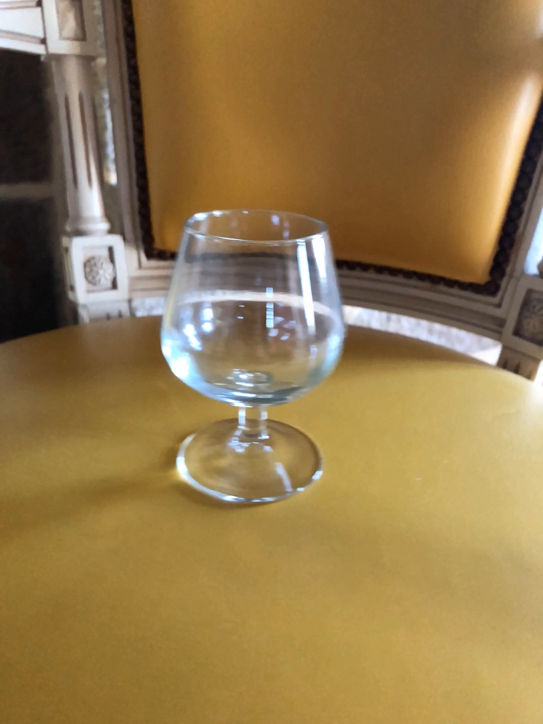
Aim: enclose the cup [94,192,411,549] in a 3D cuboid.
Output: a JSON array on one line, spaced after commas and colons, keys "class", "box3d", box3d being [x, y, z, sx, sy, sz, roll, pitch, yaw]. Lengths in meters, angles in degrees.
[{"class": "cup", "box3d": [-0.004, -0.006, 0.215, 0.070, 0.090, 0.080, 16, 27, 28]}]
